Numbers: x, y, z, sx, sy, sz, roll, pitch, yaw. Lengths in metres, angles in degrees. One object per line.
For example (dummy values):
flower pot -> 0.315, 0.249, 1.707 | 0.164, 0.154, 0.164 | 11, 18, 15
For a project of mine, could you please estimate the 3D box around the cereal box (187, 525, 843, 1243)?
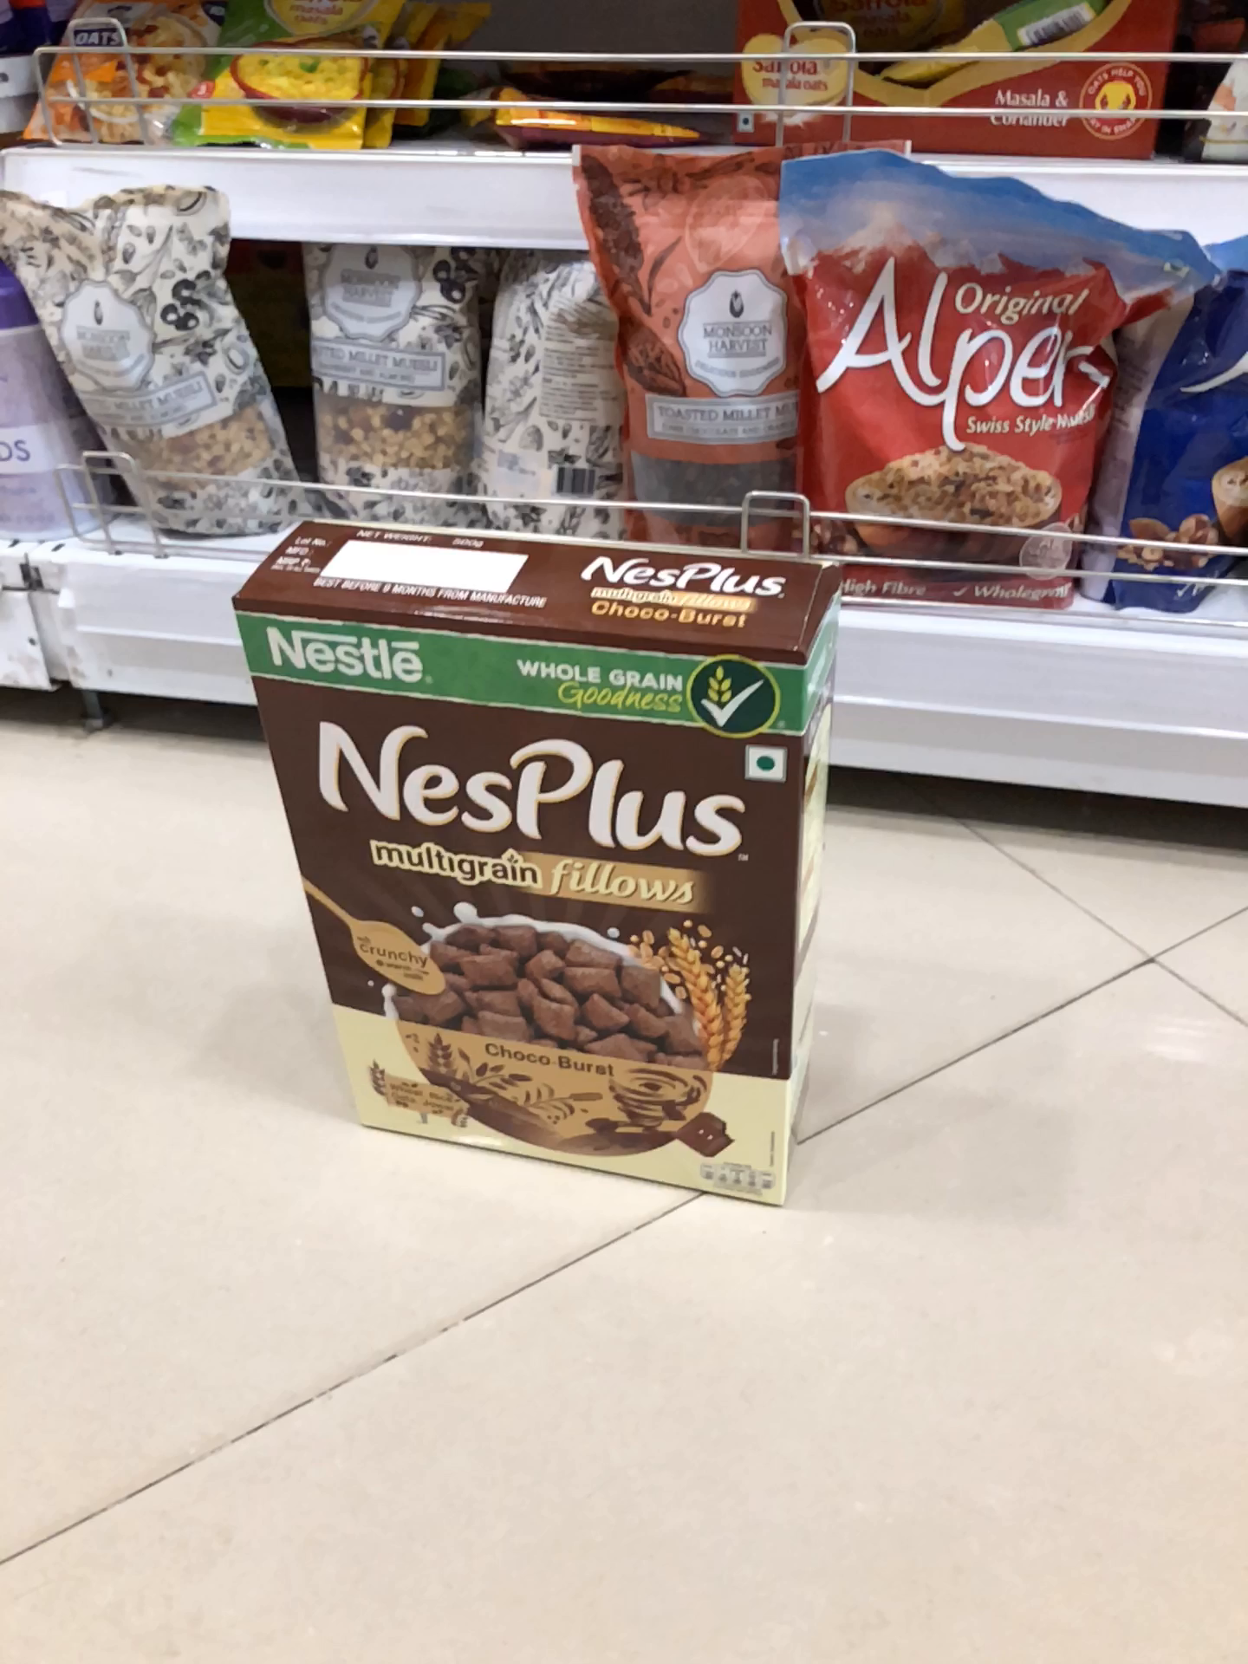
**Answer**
cereal box -> -0.030, 0.027, 0.515 | 0.200, 0.258, 0.060 | 7, 37, 14
